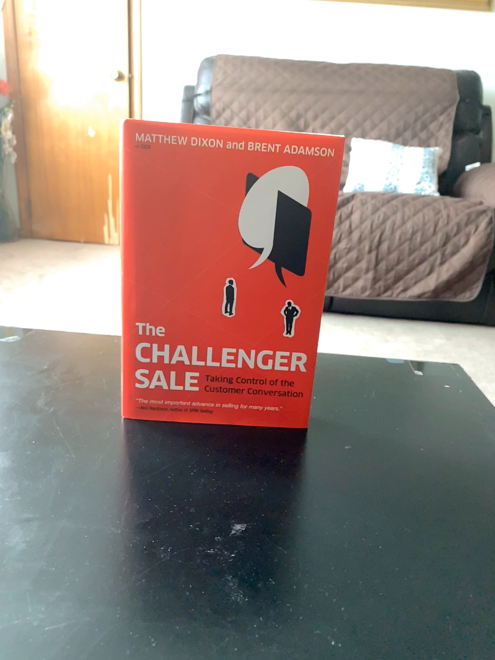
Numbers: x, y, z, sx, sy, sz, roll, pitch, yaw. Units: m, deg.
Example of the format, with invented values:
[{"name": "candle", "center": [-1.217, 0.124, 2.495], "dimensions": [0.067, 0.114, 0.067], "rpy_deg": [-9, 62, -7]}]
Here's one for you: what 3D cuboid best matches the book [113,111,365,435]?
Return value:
[{"name": "book", "center": [-0.013, -0.036, 0.404], "dimensions": [0.170, 0.239, 0.040], "rpy_deg": [3, 19, -1]}]
